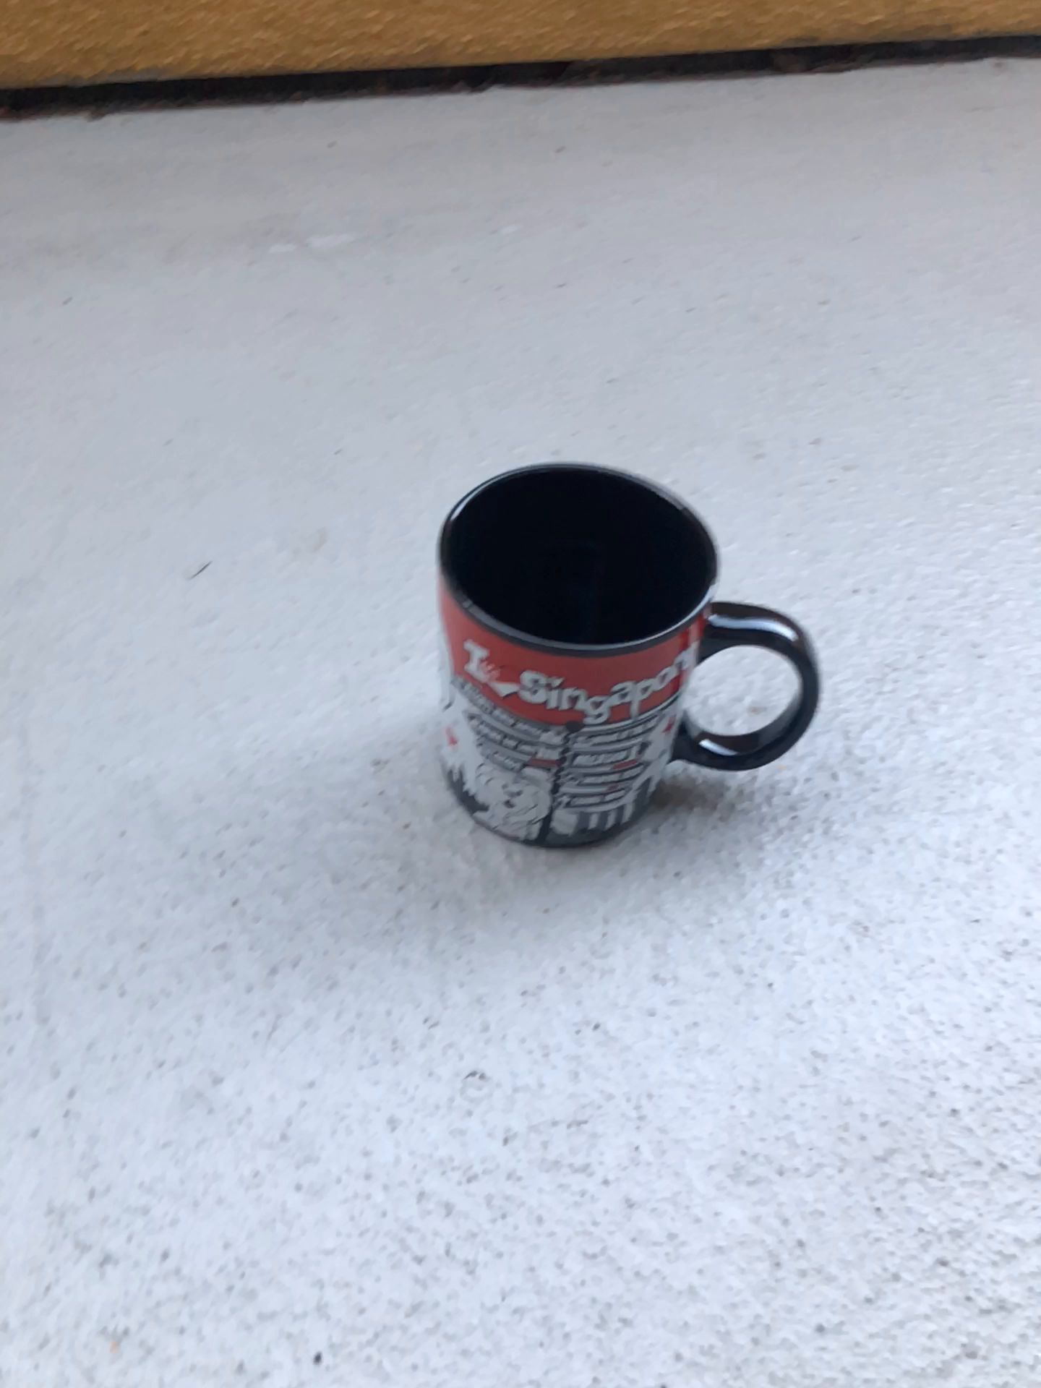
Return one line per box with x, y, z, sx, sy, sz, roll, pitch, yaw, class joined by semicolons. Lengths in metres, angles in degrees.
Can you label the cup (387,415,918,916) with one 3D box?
0.034;-0.006;0.348;0.130;0.110;0.080;8;49;3;cup
